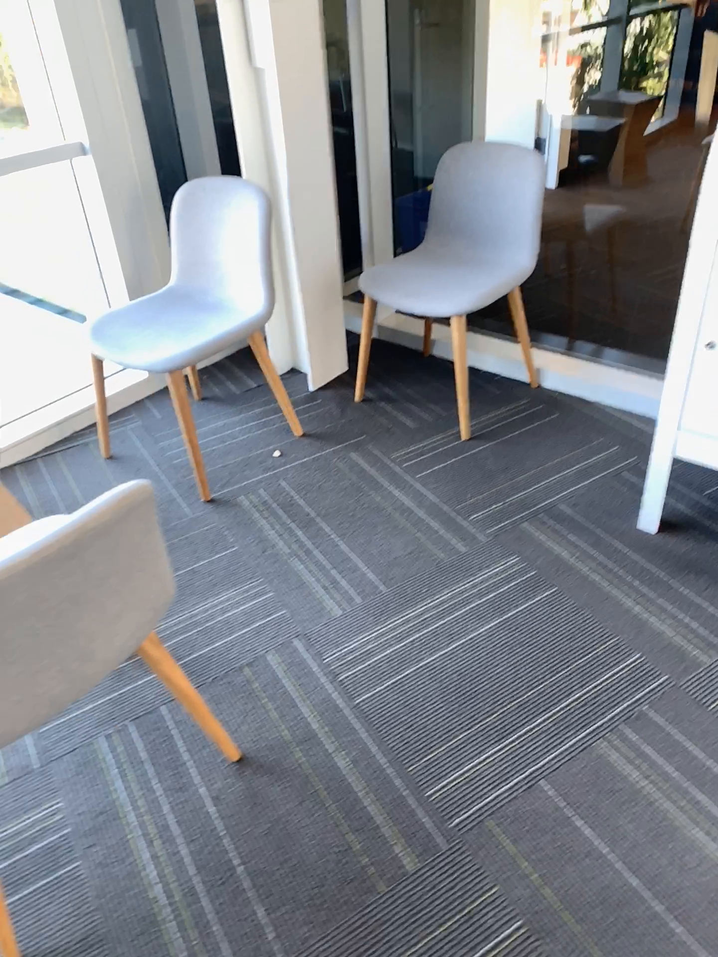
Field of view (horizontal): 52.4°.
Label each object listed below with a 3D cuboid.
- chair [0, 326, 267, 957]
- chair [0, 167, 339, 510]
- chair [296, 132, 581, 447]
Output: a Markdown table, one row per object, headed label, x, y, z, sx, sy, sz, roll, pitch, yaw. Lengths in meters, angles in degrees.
| label | x | y | z | sx | sy | sz | roll | pitch | yaw |
| --- | --- | --- | --- | --- | --- | --- | --- | --- | --- |
| chair | -0.613 | 0.269 | 1.210 | 0.602 | 0.765 | 0.561 | 23 | 43 | 33 |
| chair | -0.526 | -0.462 | 2.232 | 0.642 | 0.745 | 0.602 | 21 | 42 | 31 |
| chair | 0.268 | -0.658 | 2.429 | 0.642 | 0.765 | 0.602 | 21 | 42 | 31 |
